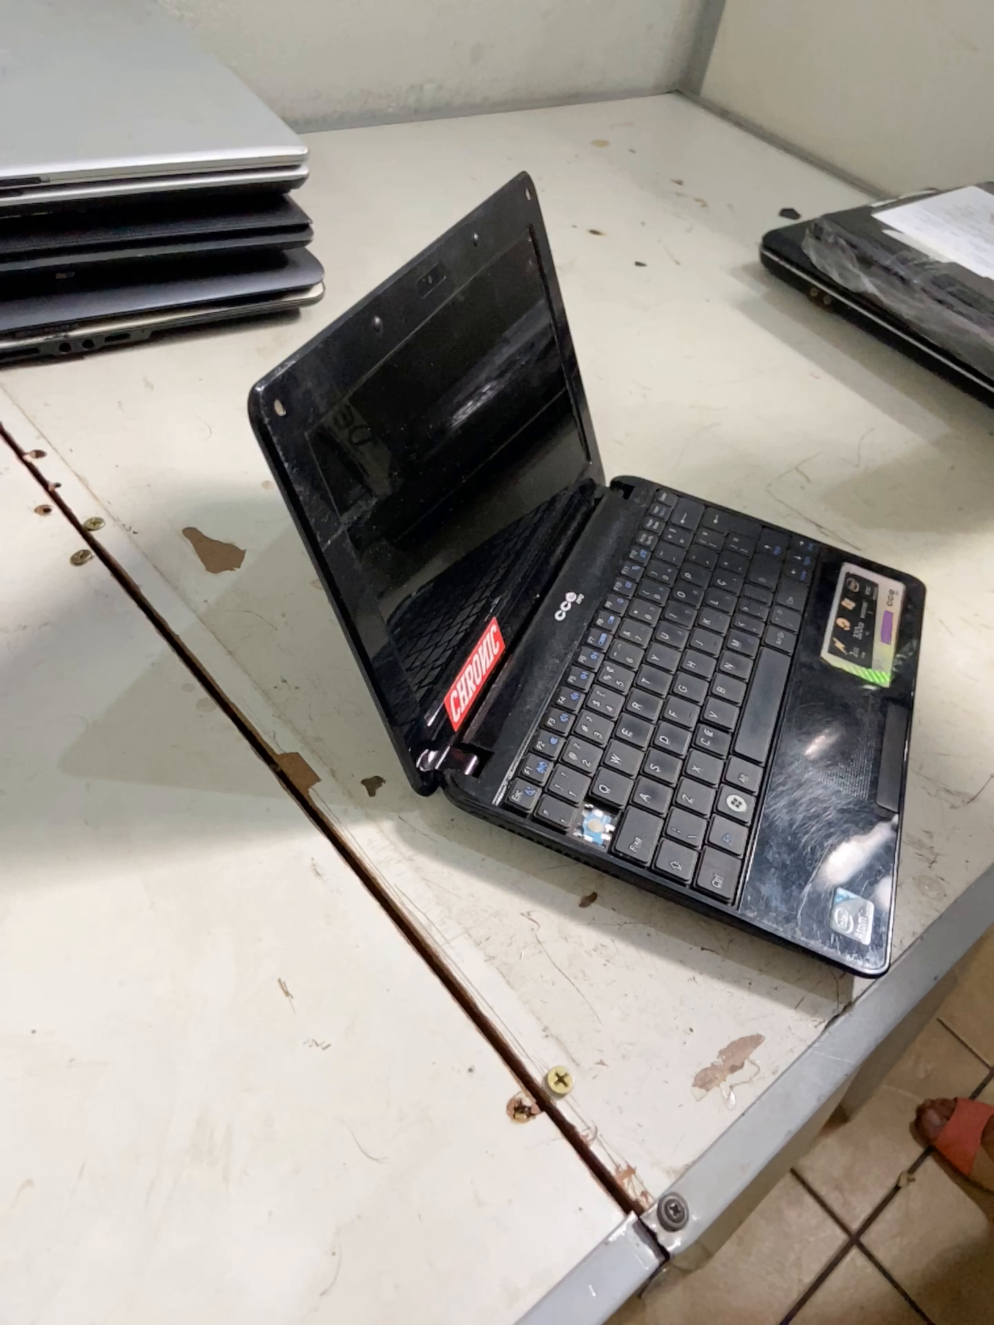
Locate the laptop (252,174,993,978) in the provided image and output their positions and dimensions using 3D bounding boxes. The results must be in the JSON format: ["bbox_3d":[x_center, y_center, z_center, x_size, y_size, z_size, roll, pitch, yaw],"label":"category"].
[{"bbox_3d":[0.078,-0.061,0.429,0.257,0.137,0.255,22,44,8],"label":"laptop"}]
